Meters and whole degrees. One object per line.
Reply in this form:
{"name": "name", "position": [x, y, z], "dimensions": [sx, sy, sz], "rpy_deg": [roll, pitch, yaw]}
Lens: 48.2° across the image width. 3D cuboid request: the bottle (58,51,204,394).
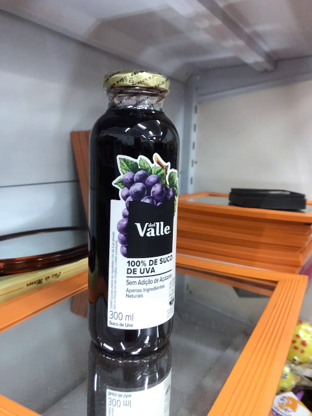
{"name": "bottle", "position": [-0.020, 0.008, 0.234], "dimensions": [0.070, 0.189, 0.060], "rpy_deg": [-2, 9, -33]}
